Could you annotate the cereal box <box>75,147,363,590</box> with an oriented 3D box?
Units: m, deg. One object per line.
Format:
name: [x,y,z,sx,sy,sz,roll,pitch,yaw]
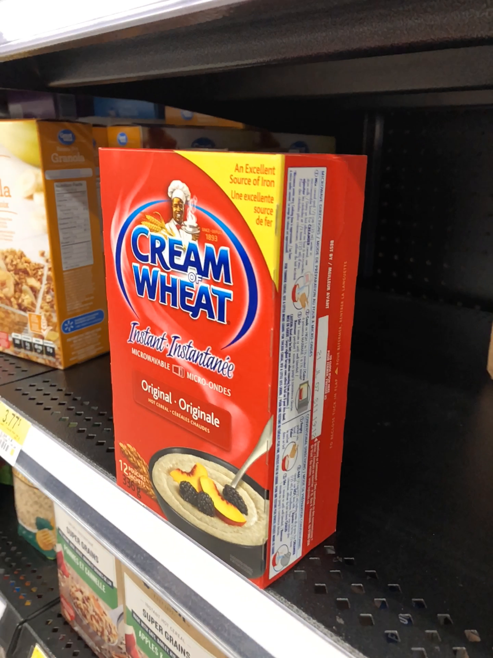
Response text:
cereal box: [-0.019,0.007,0.283,0.130,0.189,0.060,17,25,41]
